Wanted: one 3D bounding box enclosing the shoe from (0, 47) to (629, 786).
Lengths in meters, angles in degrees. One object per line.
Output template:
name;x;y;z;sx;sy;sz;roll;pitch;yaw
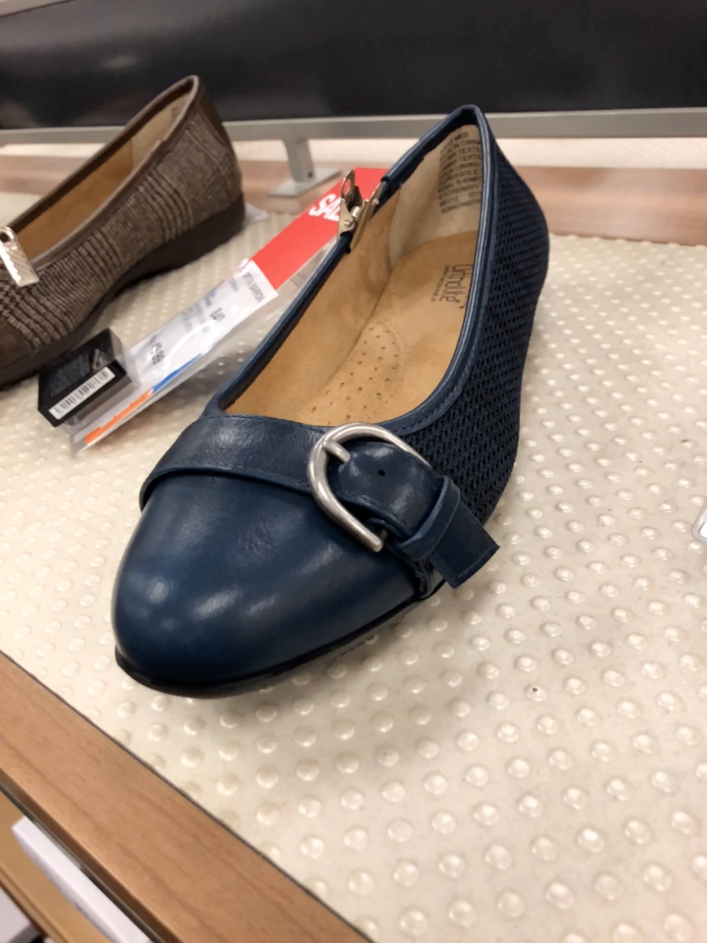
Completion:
shoe;0.028;-0.056;0.251;0.088;0.081;0.280;3;37;23
